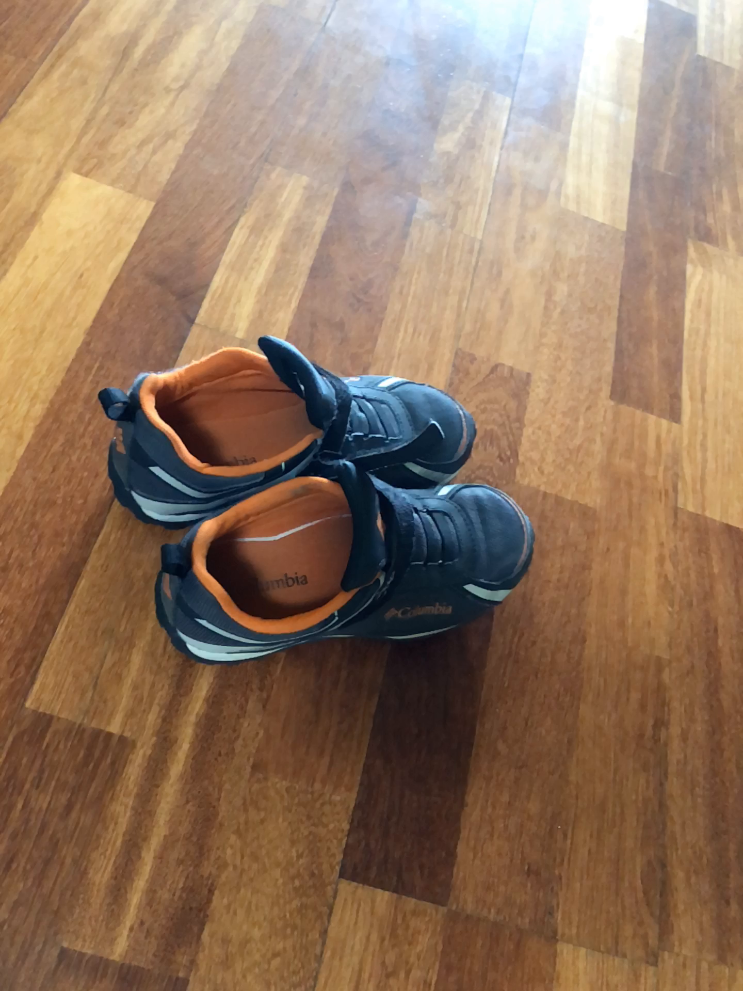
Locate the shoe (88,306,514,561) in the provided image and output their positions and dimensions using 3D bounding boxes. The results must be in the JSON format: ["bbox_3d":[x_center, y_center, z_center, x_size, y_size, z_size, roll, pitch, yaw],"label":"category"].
[{"bbox_3d":[-0.055,-0.044,0.561,0.252,0.126,0.112,-5,65,-18],"label":"shoe"}]

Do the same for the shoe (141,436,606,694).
[{"bbox_3d":[-0.006,0.040,0.490,0.247,0.102,0.097,-5,65,-18],"label":"shoe"}]
